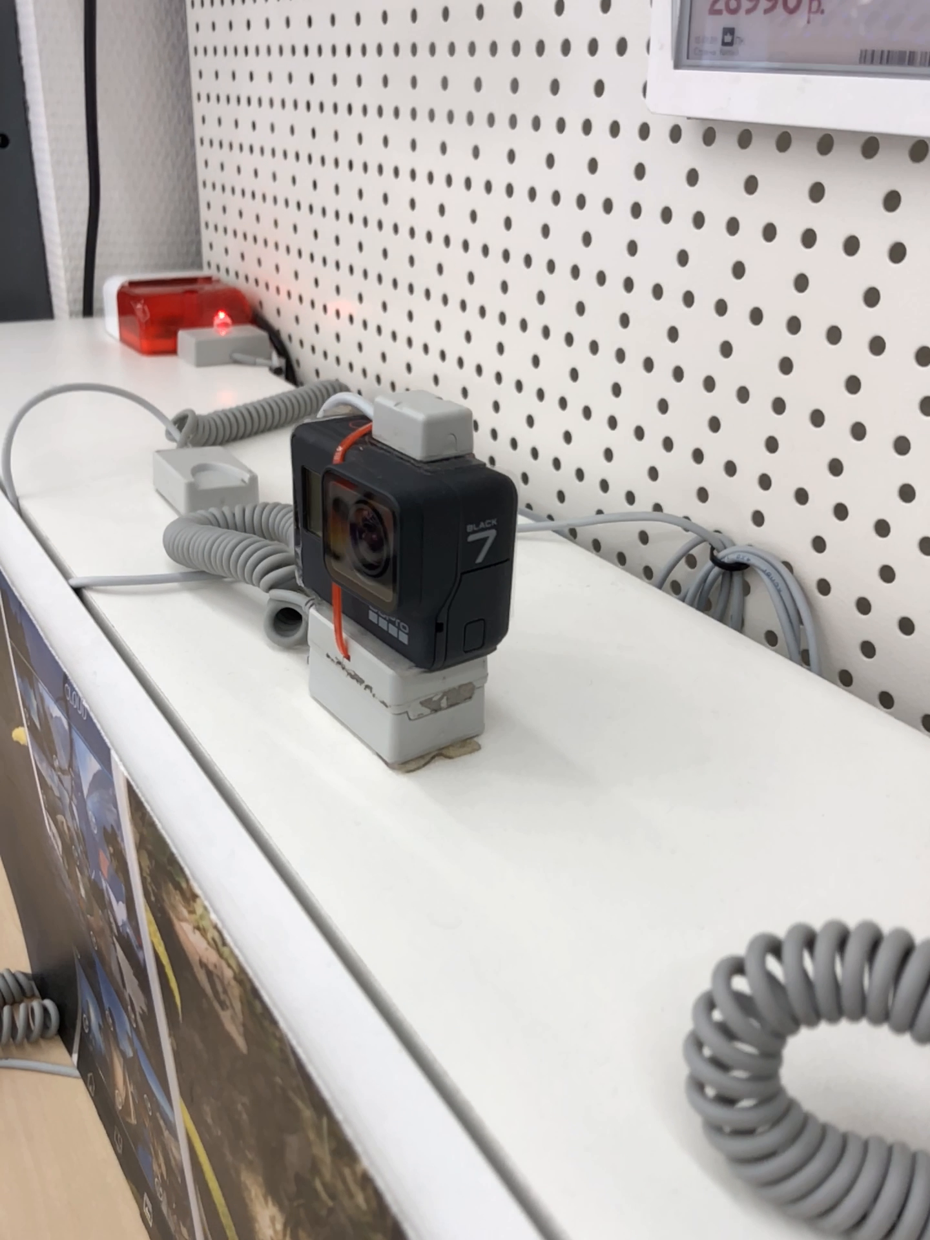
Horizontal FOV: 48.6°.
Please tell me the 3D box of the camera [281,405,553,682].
[{"bbox_3d":[-0.014,-0.022,0.250,0.032,0.043,0.064,-17,33,-35],"label":"camera"}]
